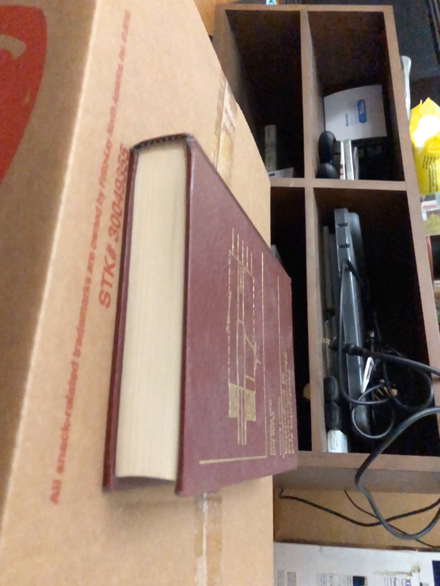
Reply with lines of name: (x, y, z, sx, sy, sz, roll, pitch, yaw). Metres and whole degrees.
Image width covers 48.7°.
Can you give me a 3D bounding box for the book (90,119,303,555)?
book: (0.009, 0.044, 0.320, 0.241, 0.040, 0.190, 43, 44, -63)
